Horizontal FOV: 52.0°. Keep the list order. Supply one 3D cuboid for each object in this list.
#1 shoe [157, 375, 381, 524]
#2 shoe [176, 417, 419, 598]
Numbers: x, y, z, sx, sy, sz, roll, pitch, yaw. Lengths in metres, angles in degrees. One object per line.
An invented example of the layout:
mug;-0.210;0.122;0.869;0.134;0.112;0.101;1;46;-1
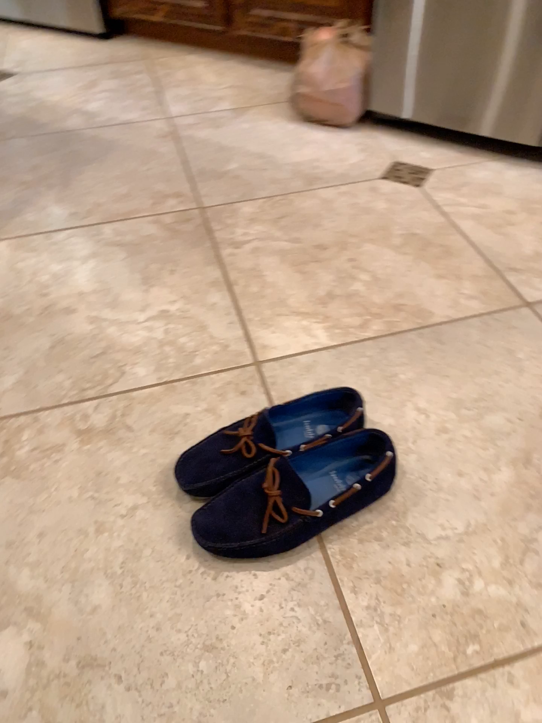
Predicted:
shoe;-0.002;0.116;0.765;0.281;0.074;0.099;-16;47;-13
shoe;0.035;0.177;0.702;0.281;0.074;0.099;-19;48;-16
